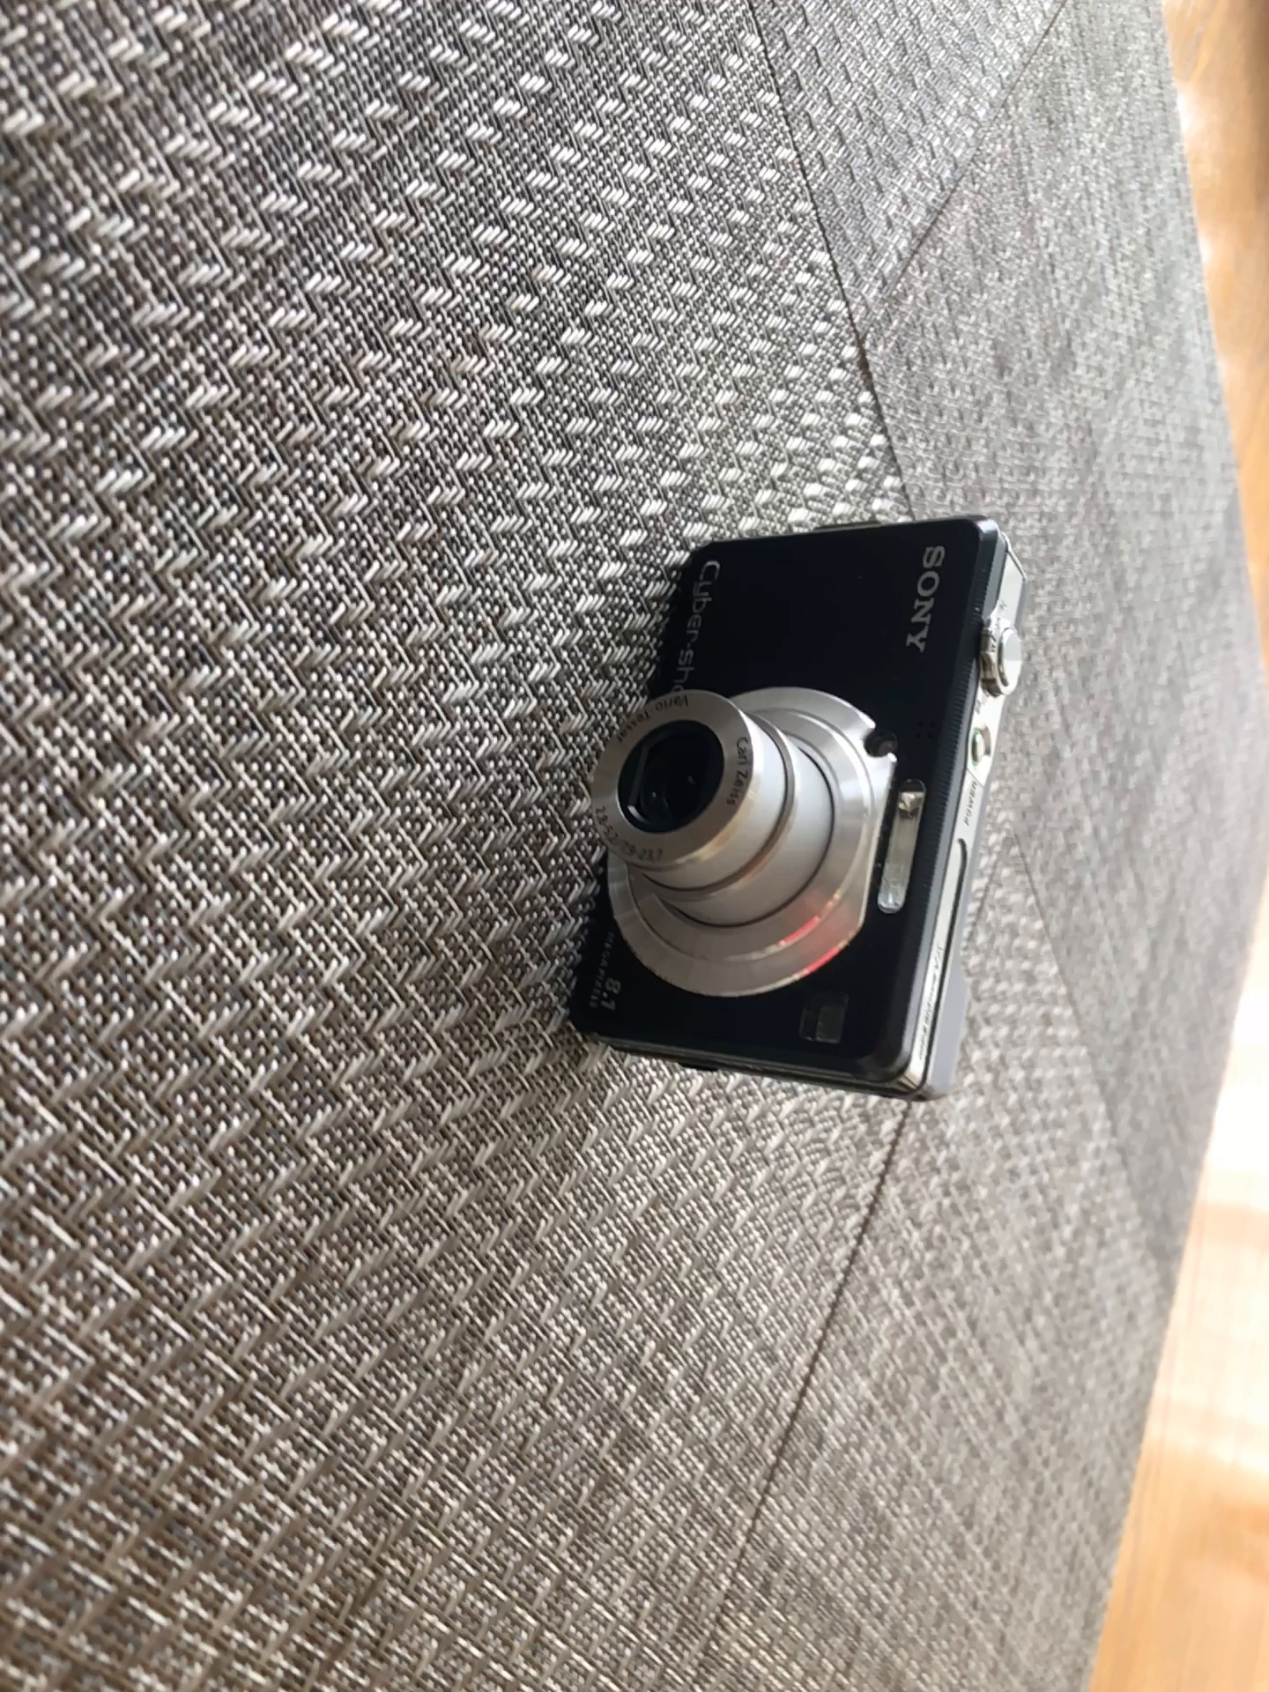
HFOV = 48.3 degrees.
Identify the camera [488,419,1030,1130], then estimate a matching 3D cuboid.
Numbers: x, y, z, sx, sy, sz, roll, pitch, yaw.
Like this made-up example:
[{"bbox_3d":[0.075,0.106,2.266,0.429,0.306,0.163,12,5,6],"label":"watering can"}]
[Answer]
[{"bbox_3d":[0.024,-0.010,0.227,0.049,0.052,0.095,36,63,-51],"label":"camera"}]
